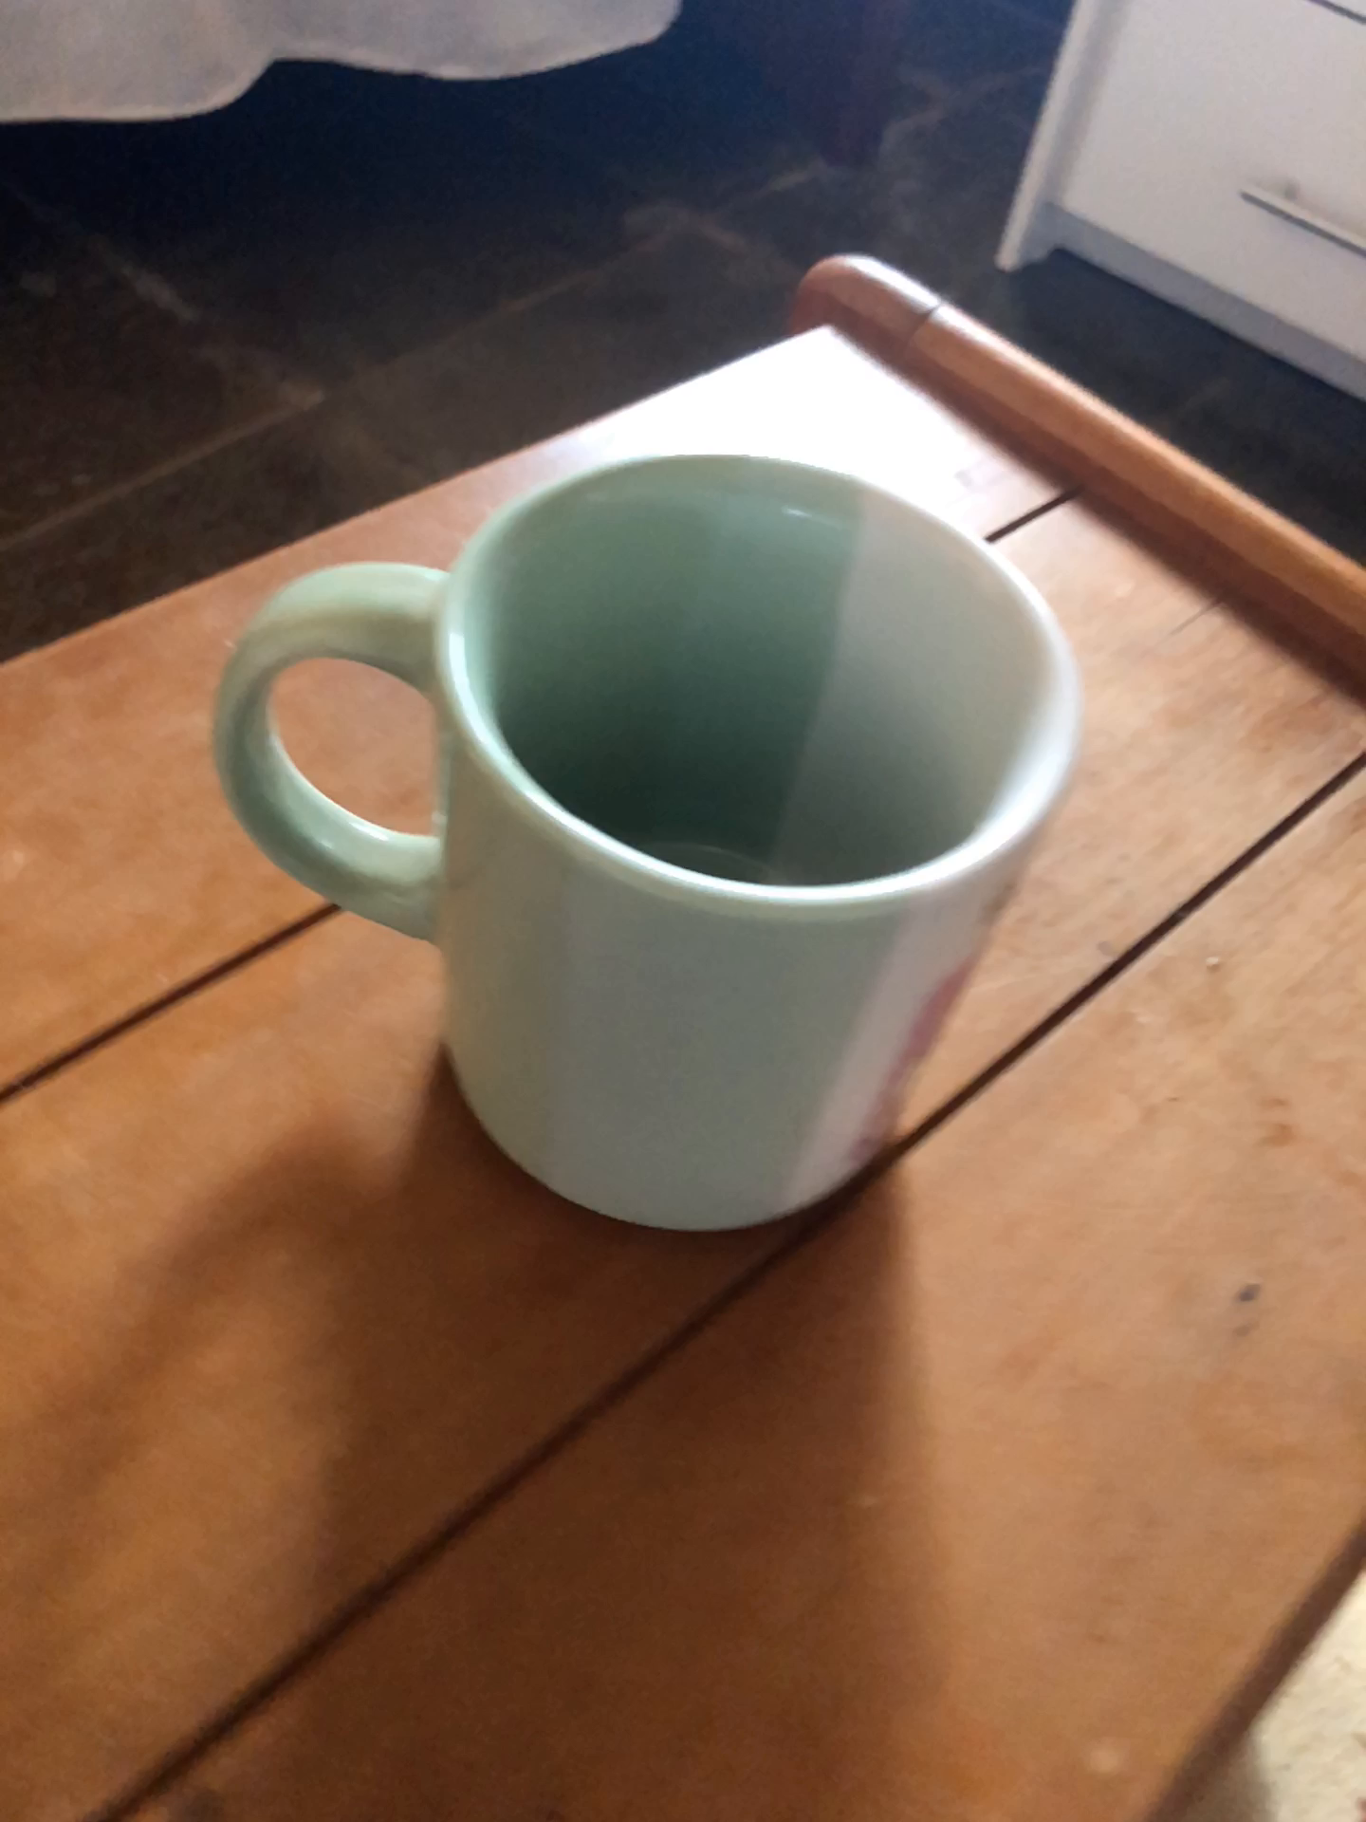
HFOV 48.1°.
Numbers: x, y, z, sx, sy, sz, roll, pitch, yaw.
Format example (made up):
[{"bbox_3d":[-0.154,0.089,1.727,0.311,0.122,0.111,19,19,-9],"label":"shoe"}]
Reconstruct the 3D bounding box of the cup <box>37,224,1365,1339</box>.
[{"bbox_3d":[0.004,-0.015,0.204,0.130,0.089,0.081,14,51,2],"label":"cup"}]
